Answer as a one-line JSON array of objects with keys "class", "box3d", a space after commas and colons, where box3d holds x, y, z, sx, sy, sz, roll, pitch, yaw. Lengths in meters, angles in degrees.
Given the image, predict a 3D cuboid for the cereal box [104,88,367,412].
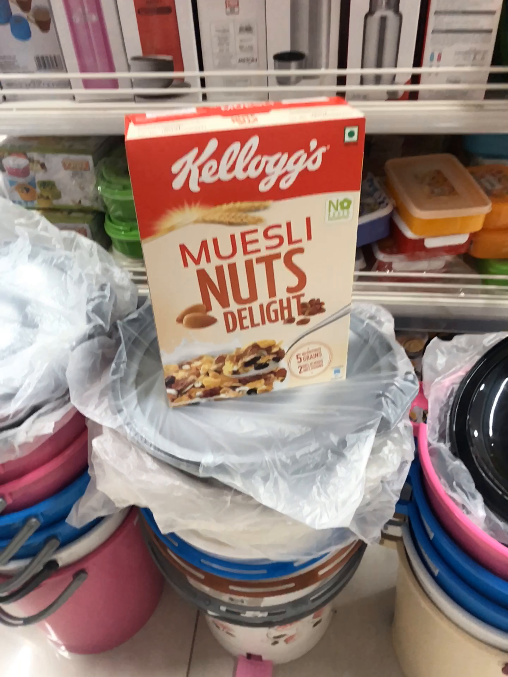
[{"class": "cereal box", "box3d": [-0.012, -0.070, 0.502, 0.190, 0.259, 0.070, -8, 34, -8]}]
